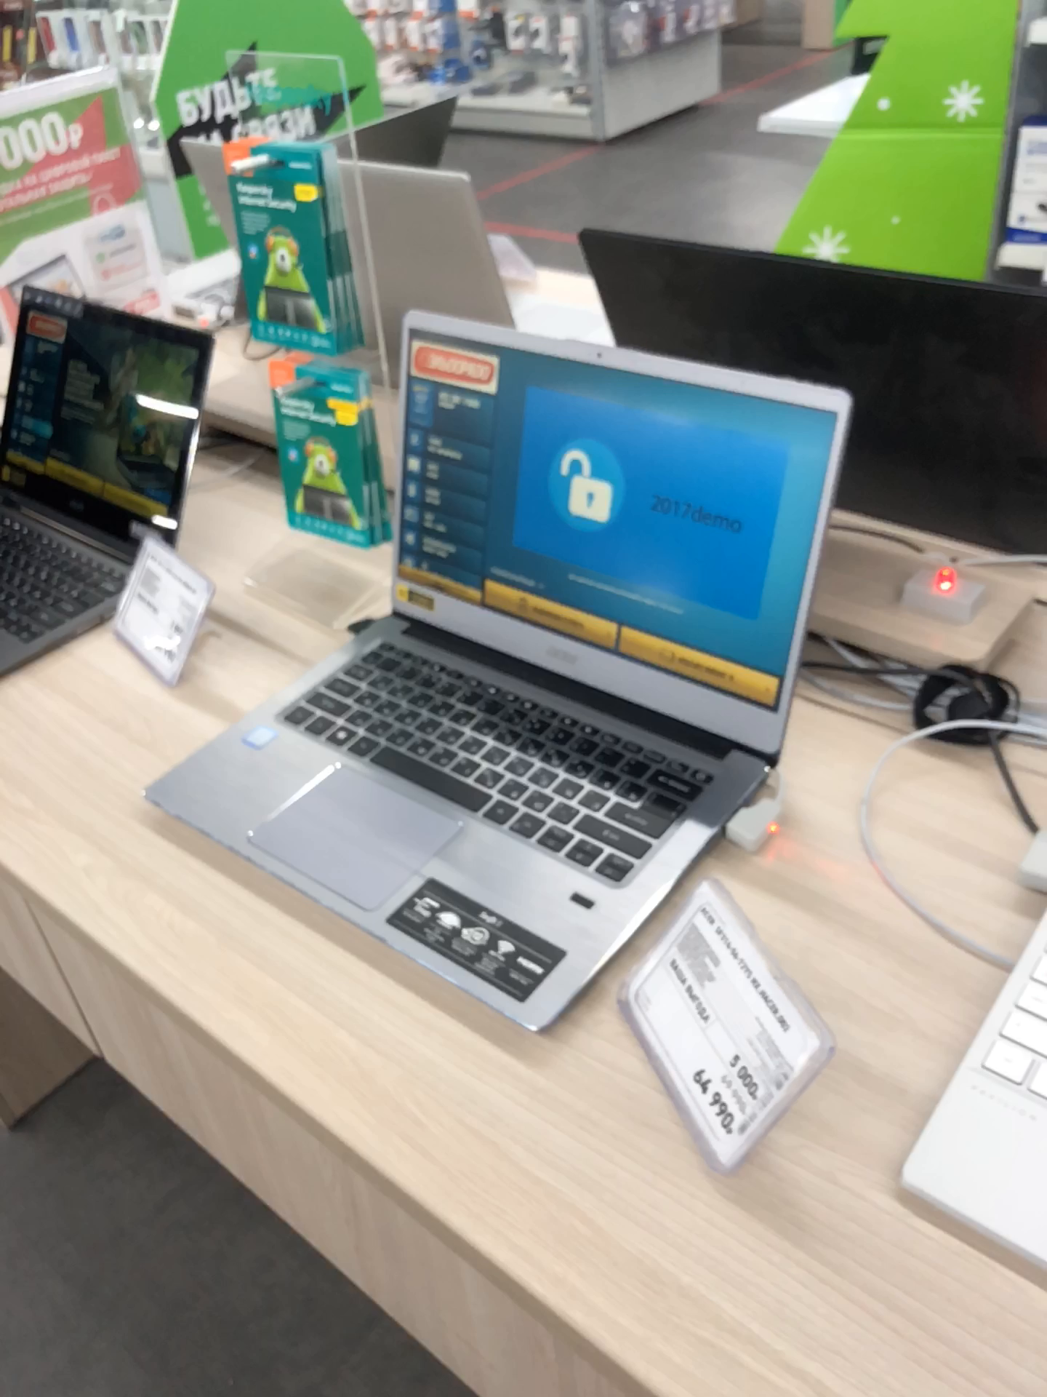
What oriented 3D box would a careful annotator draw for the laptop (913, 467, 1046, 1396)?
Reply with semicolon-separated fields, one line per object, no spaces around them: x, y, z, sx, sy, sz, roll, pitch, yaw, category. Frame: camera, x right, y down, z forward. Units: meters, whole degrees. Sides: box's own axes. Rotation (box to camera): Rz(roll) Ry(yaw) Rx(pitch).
0.372;0.093;0.440;0.305;0.164;0.323;22;49;34;laptop

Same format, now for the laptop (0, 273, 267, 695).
-0.441;-0.197;0.964;0.280;0.159;0.312;24;50;35;laptop

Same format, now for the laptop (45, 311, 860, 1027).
-0.028;-0.051;0.678;0.315;0.197;0.303;22;47;33;laptop
